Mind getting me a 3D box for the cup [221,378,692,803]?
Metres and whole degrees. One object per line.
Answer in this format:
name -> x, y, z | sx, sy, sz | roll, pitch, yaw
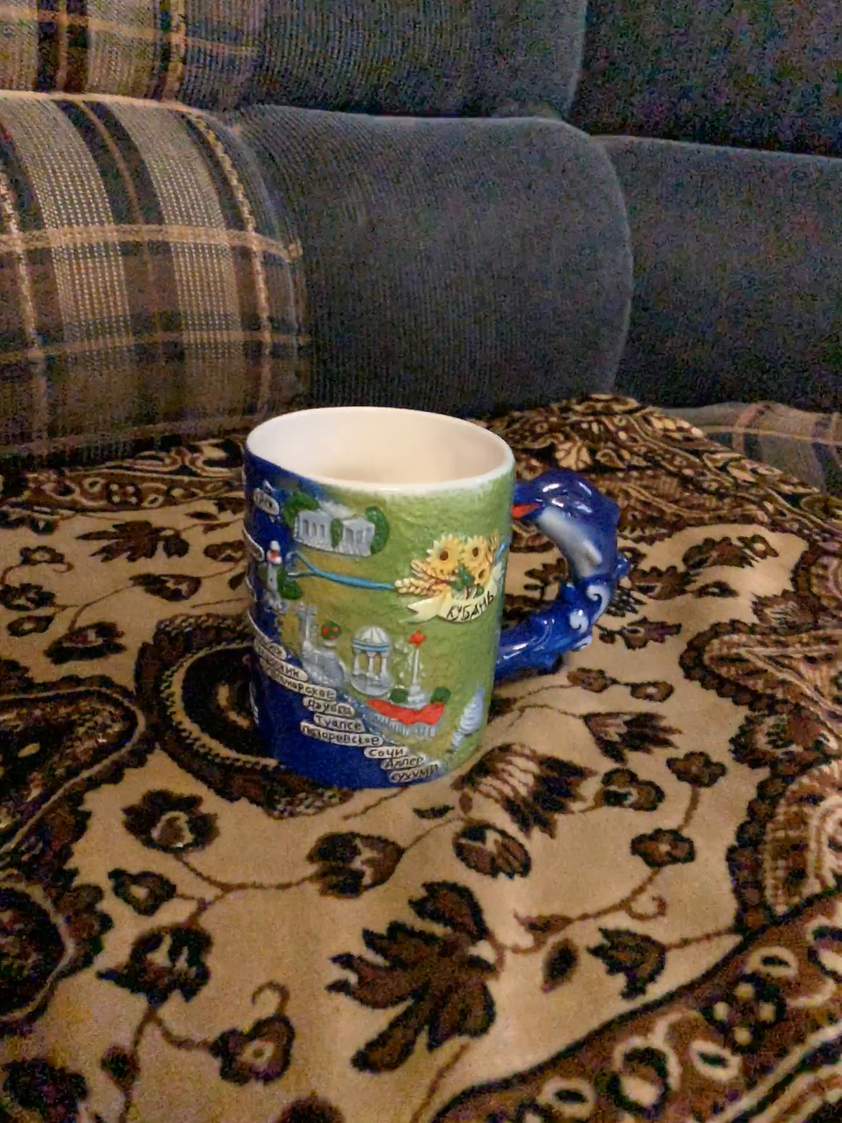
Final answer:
cup -> 0.002, 0.002, 0.295 | 0.127, 0.105, 0.090 | -3, 26, -15
